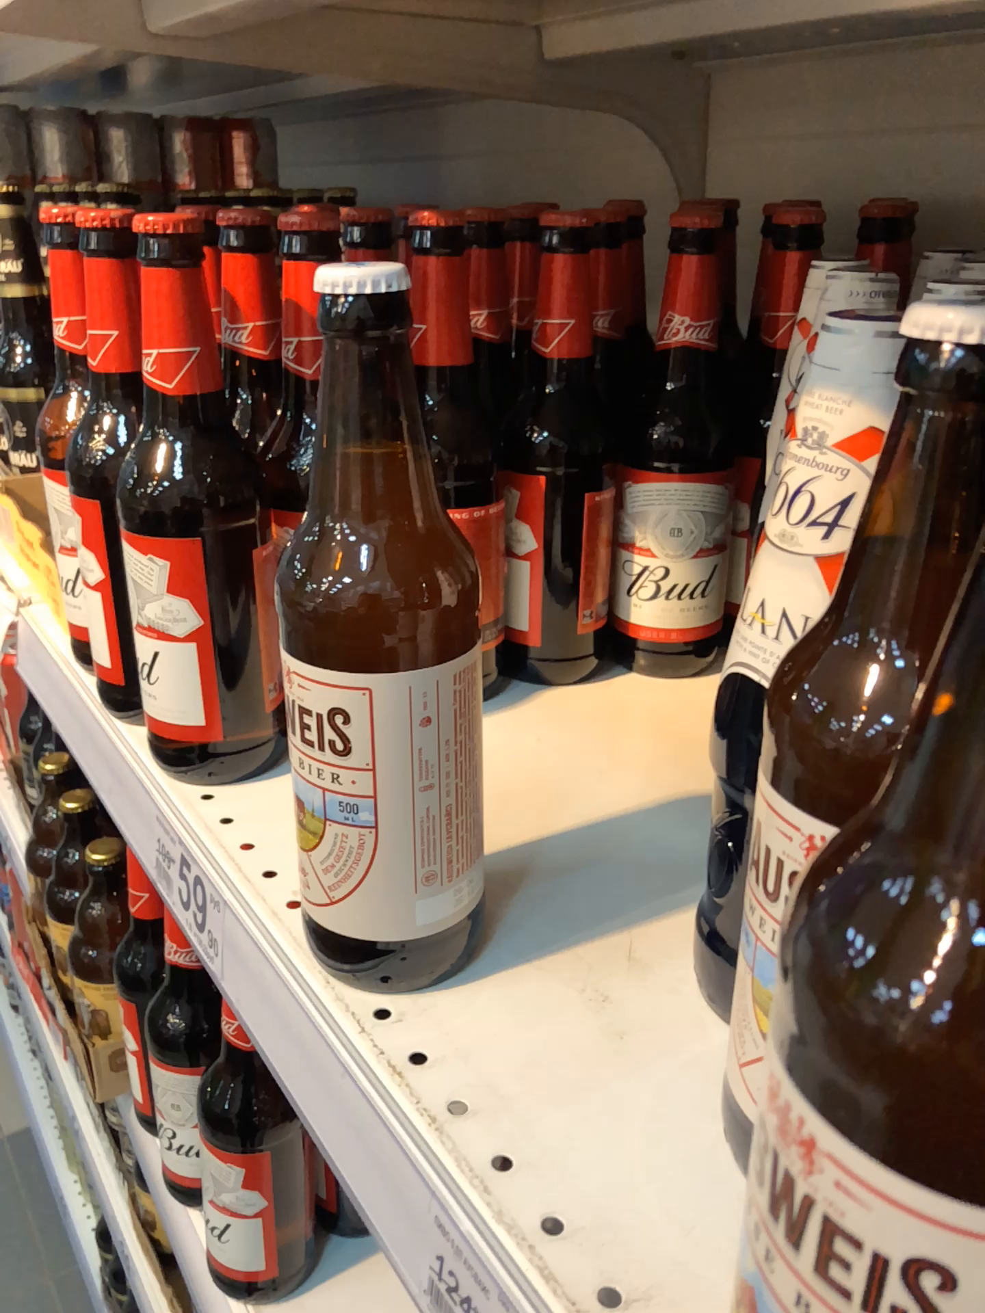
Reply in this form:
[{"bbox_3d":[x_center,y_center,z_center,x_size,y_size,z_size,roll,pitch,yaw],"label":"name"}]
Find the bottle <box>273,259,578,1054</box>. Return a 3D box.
[{"bbox_3d":[-0.023,0.000,0.367,0.070,0.249,0.080,-8,23,-18],"label":"bottle"}]
